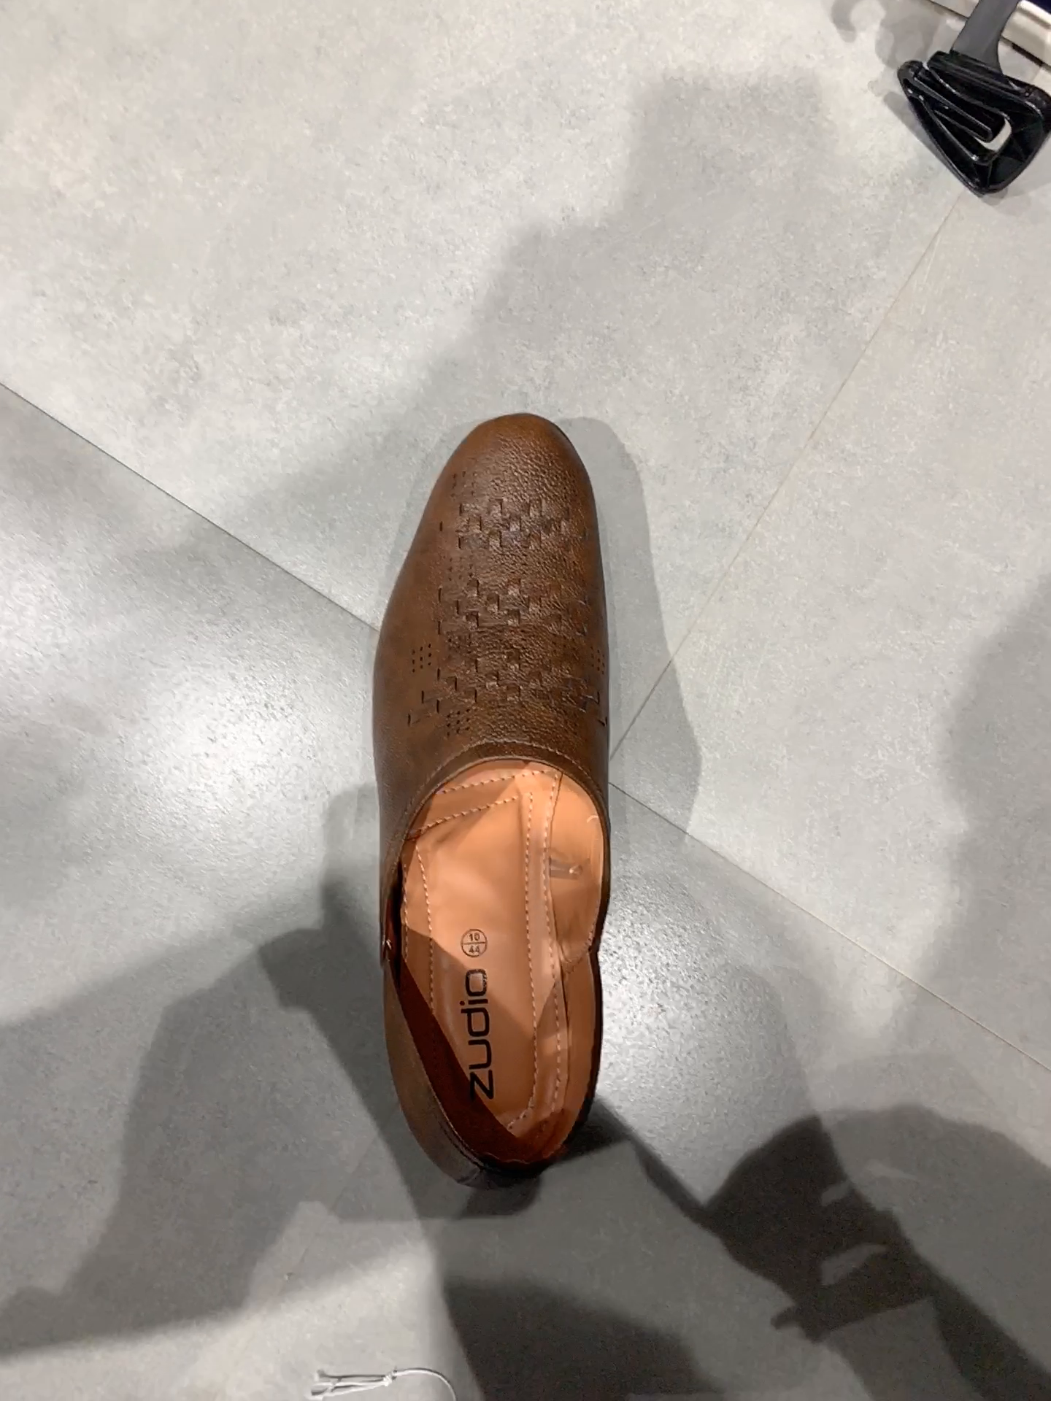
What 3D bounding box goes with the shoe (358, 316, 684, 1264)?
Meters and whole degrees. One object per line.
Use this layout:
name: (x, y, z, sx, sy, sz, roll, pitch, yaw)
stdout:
shoe: (-0.009, 0.027, 0.392, 0.100, 0.110, 0.290, 0, 85, -9)
